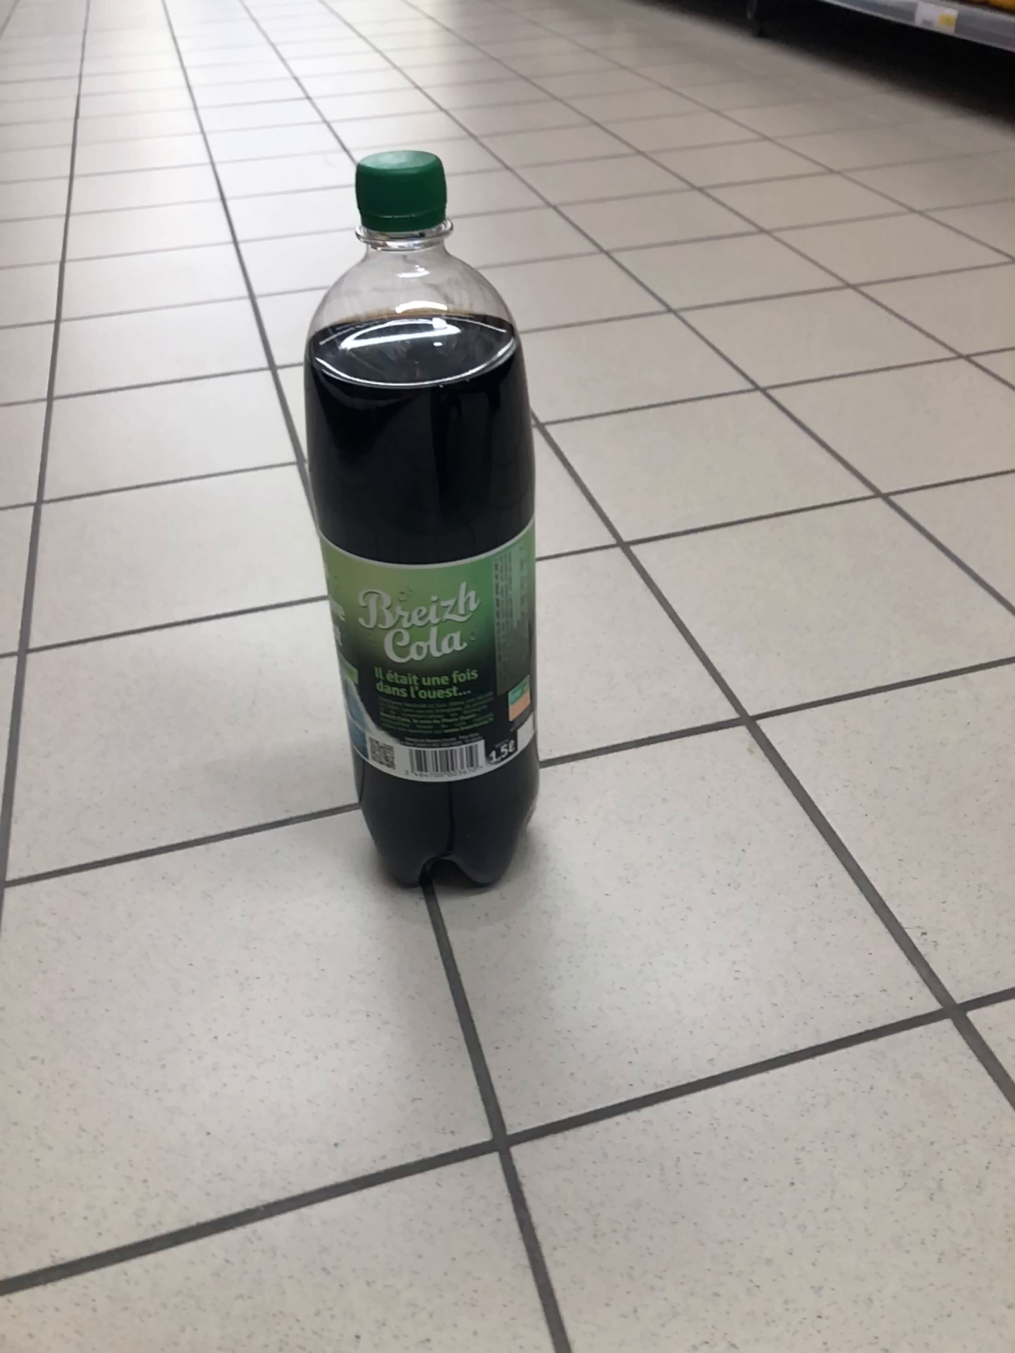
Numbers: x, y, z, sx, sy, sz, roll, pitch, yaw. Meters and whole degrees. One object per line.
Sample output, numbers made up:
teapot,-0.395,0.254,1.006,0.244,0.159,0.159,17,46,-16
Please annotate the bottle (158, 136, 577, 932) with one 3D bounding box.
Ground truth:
bottle,-0.039,-0.046,0.462,0.100,0.298,0.101,-2,37,1
